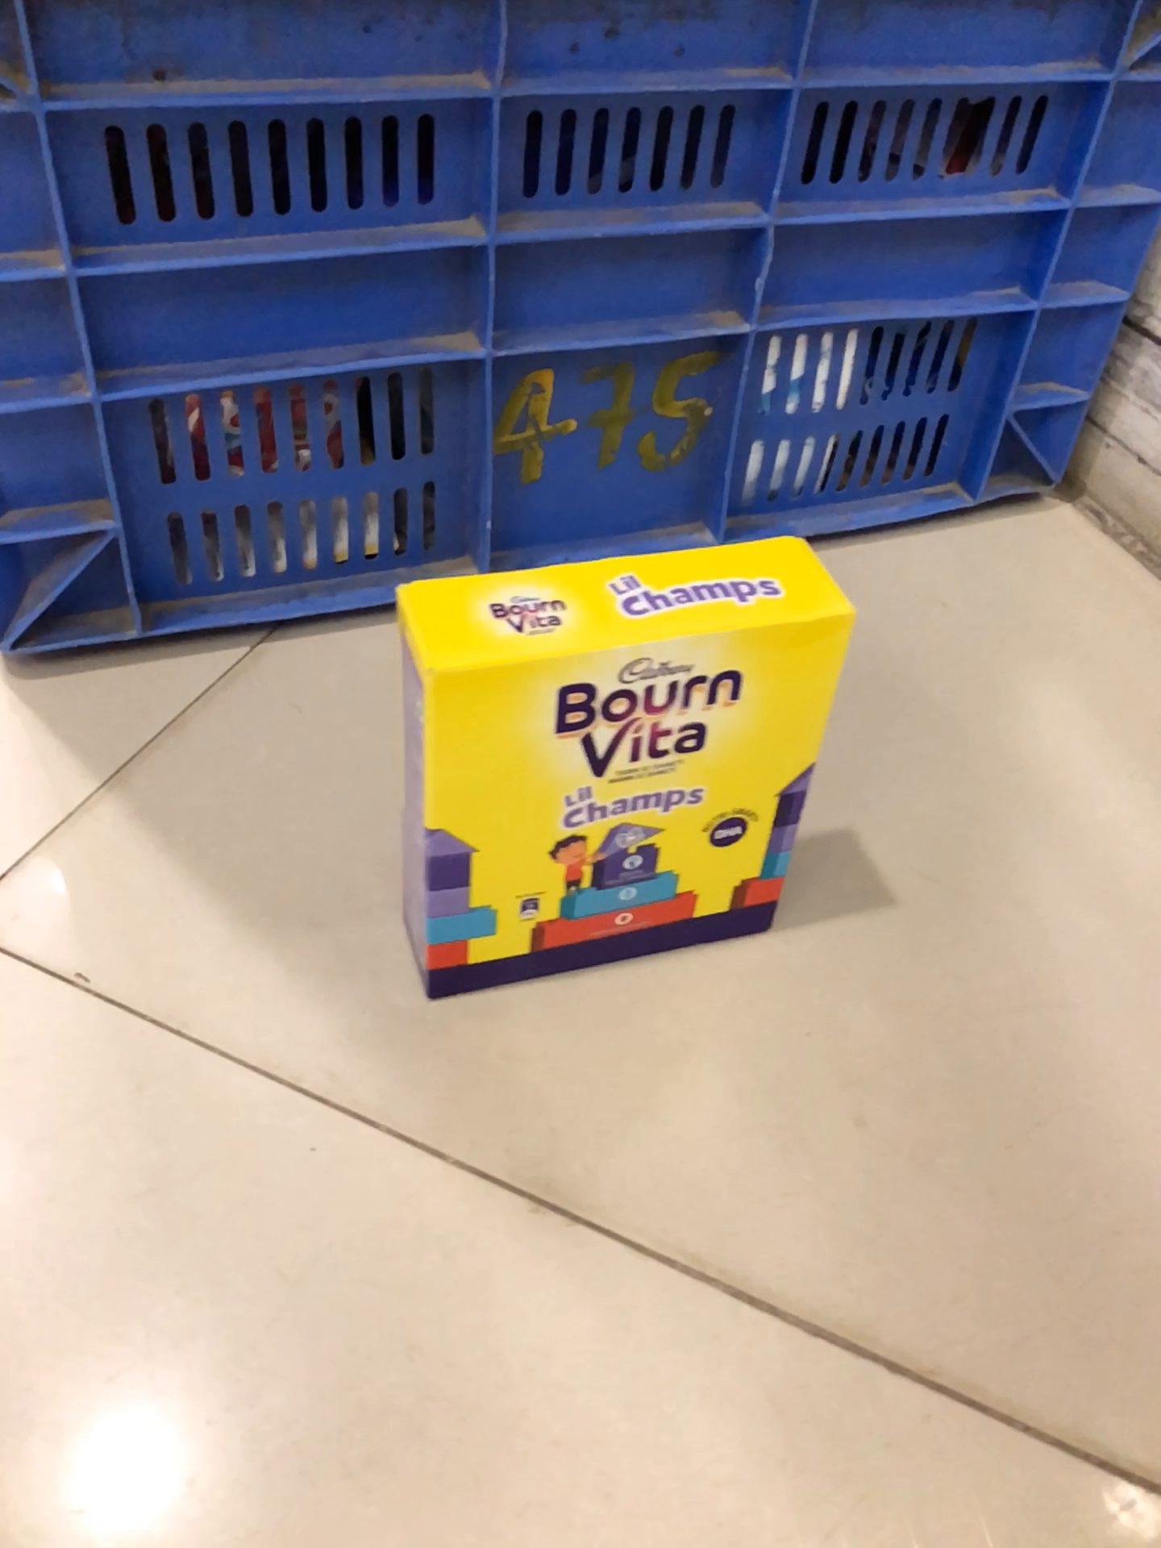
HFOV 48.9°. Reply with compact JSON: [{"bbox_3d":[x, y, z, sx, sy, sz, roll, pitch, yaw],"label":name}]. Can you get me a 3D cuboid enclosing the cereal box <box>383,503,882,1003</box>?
[{"bbox_3d":[0.011,-0.004,0.460,0.150,0.169,0.050,-9,44,-15],"label":"cereal box"}]
